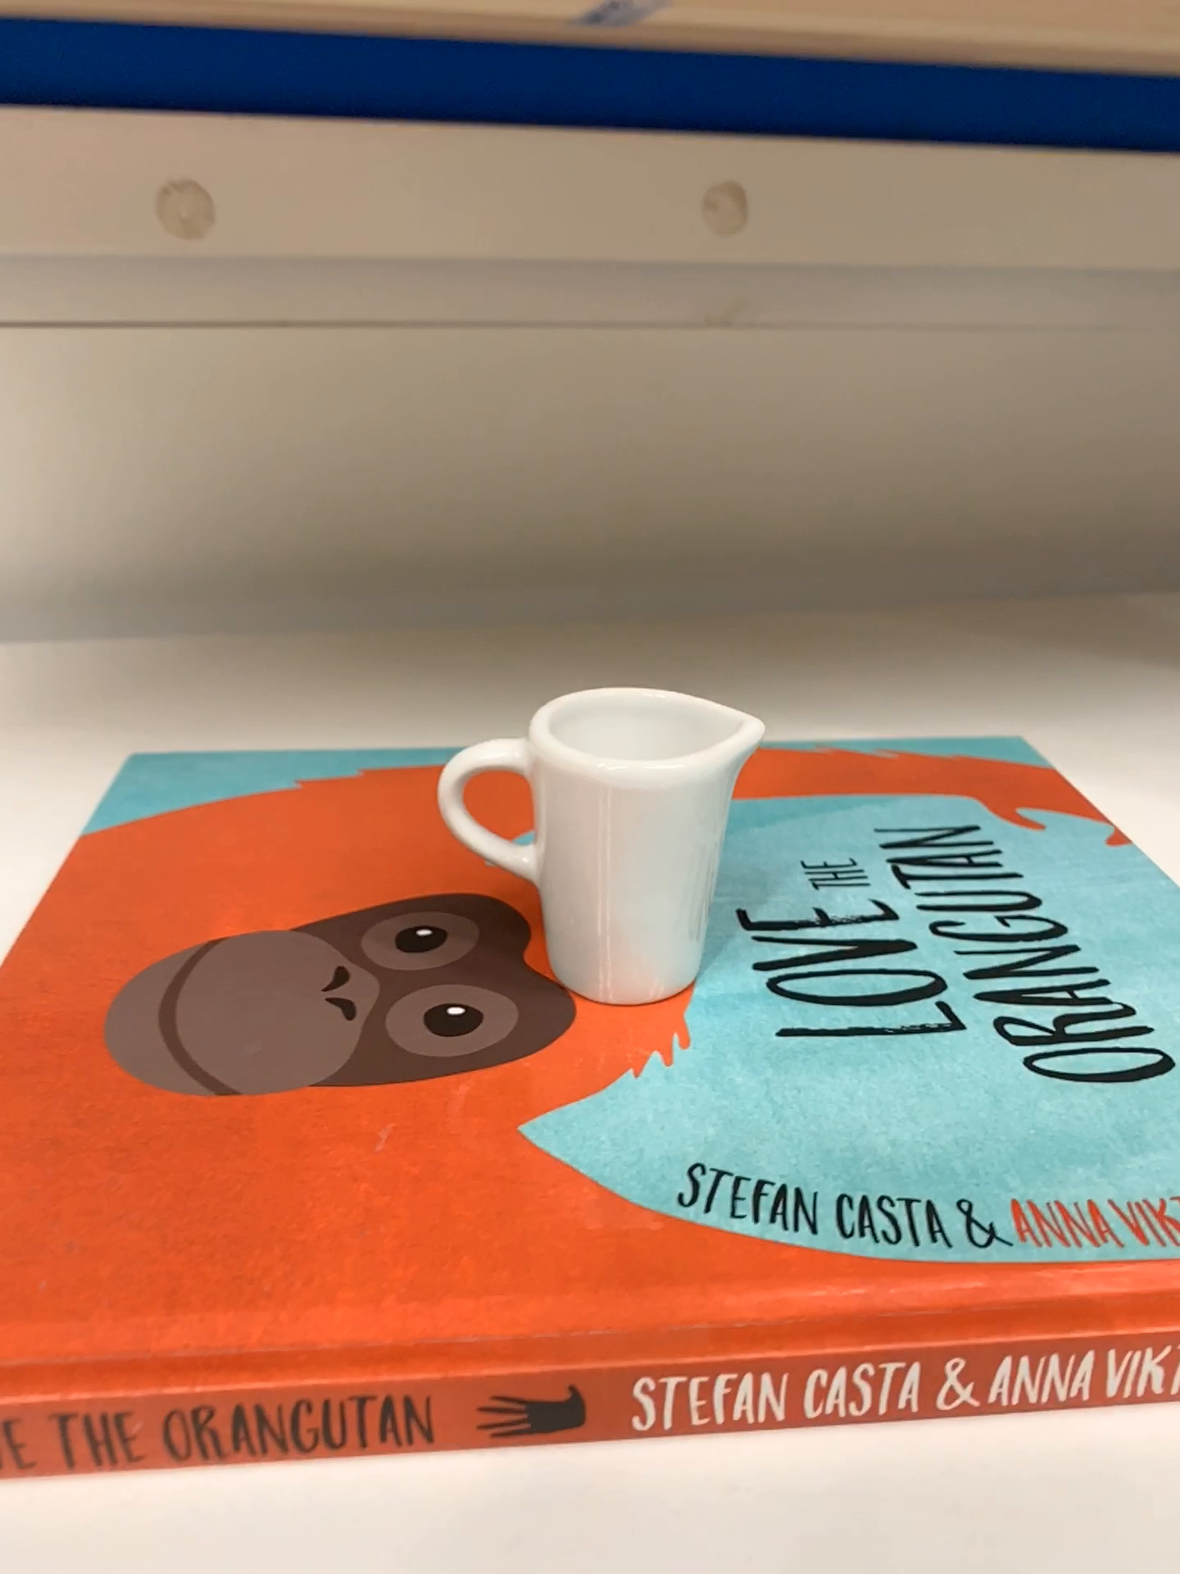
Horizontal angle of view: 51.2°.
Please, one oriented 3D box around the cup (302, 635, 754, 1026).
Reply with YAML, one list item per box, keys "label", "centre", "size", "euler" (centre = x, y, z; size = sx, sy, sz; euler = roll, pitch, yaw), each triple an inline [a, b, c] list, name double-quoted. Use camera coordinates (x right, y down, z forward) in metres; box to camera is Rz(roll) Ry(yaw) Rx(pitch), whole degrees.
- label: "cup"
  centre: [-0.009, 0.005, 0.222]
  size: [0.070, 0.050, 0.050]
  euler: [3, 24, 4]
